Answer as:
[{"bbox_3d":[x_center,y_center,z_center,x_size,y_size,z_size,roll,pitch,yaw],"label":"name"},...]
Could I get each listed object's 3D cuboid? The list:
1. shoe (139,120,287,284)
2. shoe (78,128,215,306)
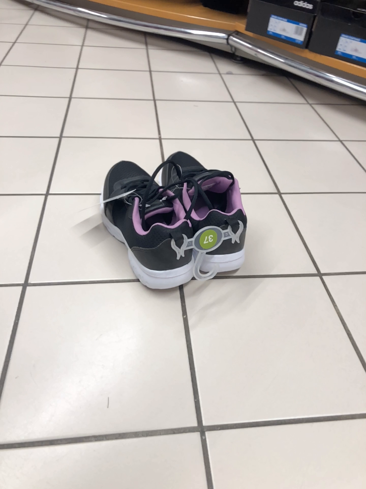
[{"bbox_3d":[0.026,-0.077,0.587,0.110,0.089,0.261,-11,44,-18],"label":"shoe"},{"bbox_3d":[-0.061,-0.055,0.564,0.110,0.089,0.261,-14,45,-15],"label":"shoe"}]
